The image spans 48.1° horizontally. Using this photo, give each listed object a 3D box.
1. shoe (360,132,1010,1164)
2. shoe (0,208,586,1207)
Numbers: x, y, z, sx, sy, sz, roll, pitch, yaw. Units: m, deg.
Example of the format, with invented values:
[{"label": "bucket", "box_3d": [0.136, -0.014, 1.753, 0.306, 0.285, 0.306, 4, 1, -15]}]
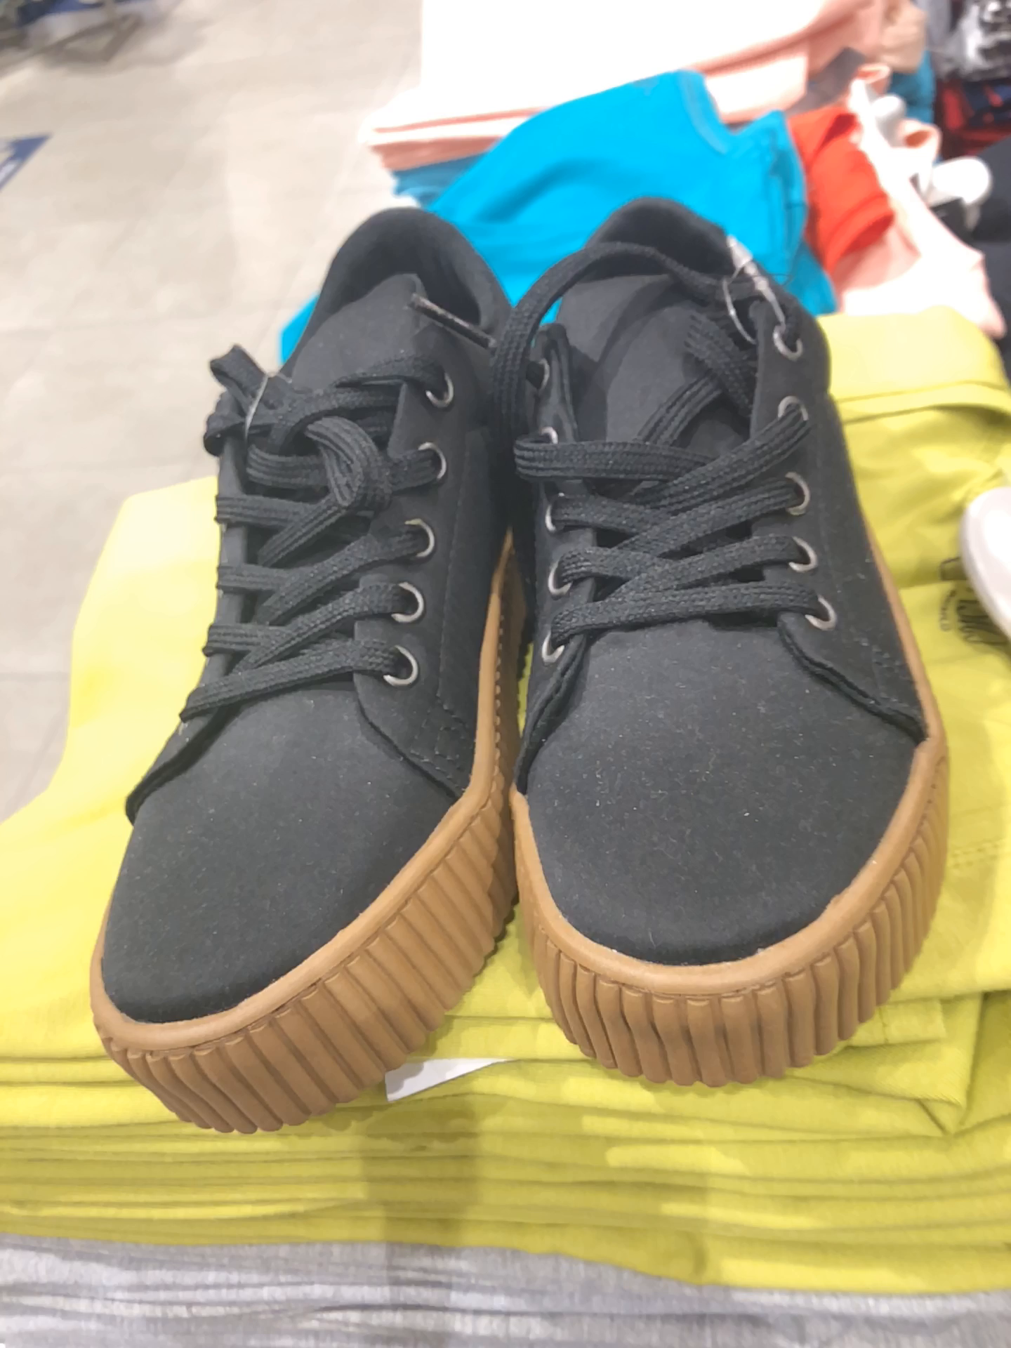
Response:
[{"label": "shoe", "box_3d": [0.041, -0.026, 0.261, 0.090, 0.079, 0.242, -6, 46, 13]}, {"label": "shoe", "box_3d": [-0.043, -0.011, 0.270, 0.090, 0.079, 0.231, -3, 47, 16]}]
